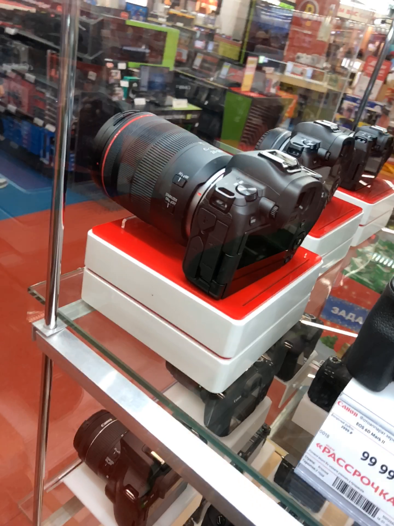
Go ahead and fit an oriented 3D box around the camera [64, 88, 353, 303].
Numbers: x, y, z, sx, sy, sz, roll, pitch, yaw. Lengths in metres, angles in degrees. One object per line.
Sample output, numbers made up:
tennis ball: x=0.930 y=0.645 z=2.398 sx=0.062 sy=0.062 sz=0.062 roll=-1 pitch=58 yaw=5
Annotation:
camera: x=0.007 y=-0.074 z=0.370 sx=0.180 sy=0.093 sz=0.145 roll=31 pitch=33 yaw=27
